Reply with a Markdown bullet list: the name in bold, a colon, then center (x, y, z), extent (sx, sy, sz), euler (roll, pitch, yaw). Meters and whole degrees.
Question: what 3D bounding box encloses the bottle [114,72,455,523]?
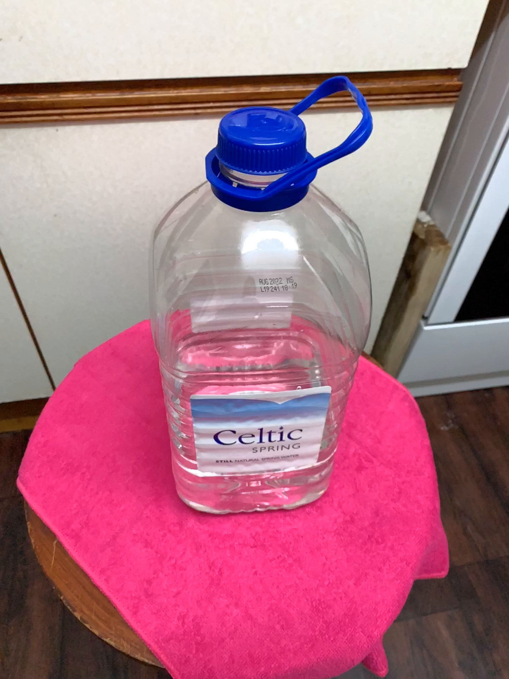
- **bottle**: center (0.001, -0.002, 0.398), extent (0.150, 0.327, 0.141), euler (2, 49, -2)
